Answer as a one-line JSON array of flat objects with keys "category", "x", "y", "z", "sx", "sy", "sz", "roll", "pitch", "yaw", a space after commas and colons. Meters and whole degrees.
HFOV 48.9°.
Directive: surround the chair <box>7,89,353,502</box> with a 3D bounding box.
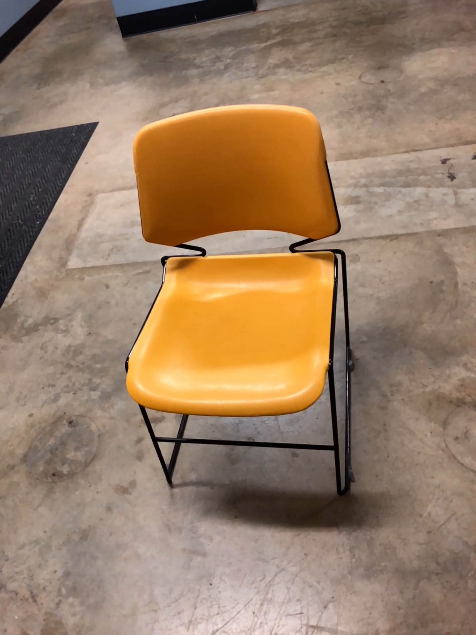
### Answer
[{"category": "chair", "x": -0.009, "y": -0.004, "z": 1.253, "sx": 0.529, "sy": 0.796, "sz": 0.526, "roll": -1, "pitch": 46, "yaw": 14}]
